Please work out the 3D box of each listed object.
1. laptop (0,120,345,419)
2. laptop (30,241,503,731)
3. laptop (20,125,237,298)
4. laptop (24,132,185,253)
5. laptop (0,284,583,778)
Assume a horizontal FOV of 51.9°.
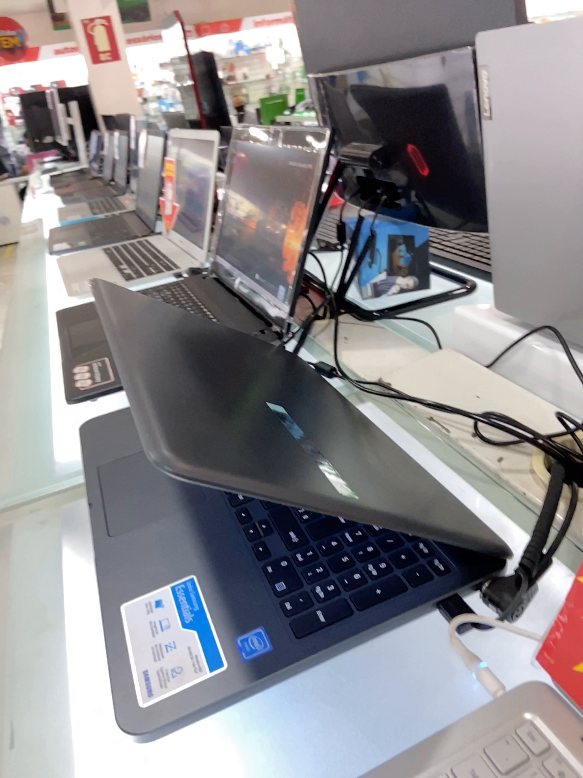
[{"bbox_3d":[-0.173,-0.215,0.841,0.371,0.223,0.396,-20,30,-18],"label":"laptop"},{"bbox_3d":[-0.056,0.012,0.469,0.235,0.140,0.368,-18,28,-16],"label":"laptop"},{"bbox_3d":[-0.365,-0.407,1.317,0.342,0.246,0.331,-17,30,-15],"label":"laptop"},{"bbox_3d":[-0.508,-0.539,1.609,0.335,0.201,0.304,-18,30,-15],"label":"laptop"},{"bbox_3d":[0.128,0.136,0.112,0.296,0.177,0.317,-19,28,-16],"label":"laptop"}]
